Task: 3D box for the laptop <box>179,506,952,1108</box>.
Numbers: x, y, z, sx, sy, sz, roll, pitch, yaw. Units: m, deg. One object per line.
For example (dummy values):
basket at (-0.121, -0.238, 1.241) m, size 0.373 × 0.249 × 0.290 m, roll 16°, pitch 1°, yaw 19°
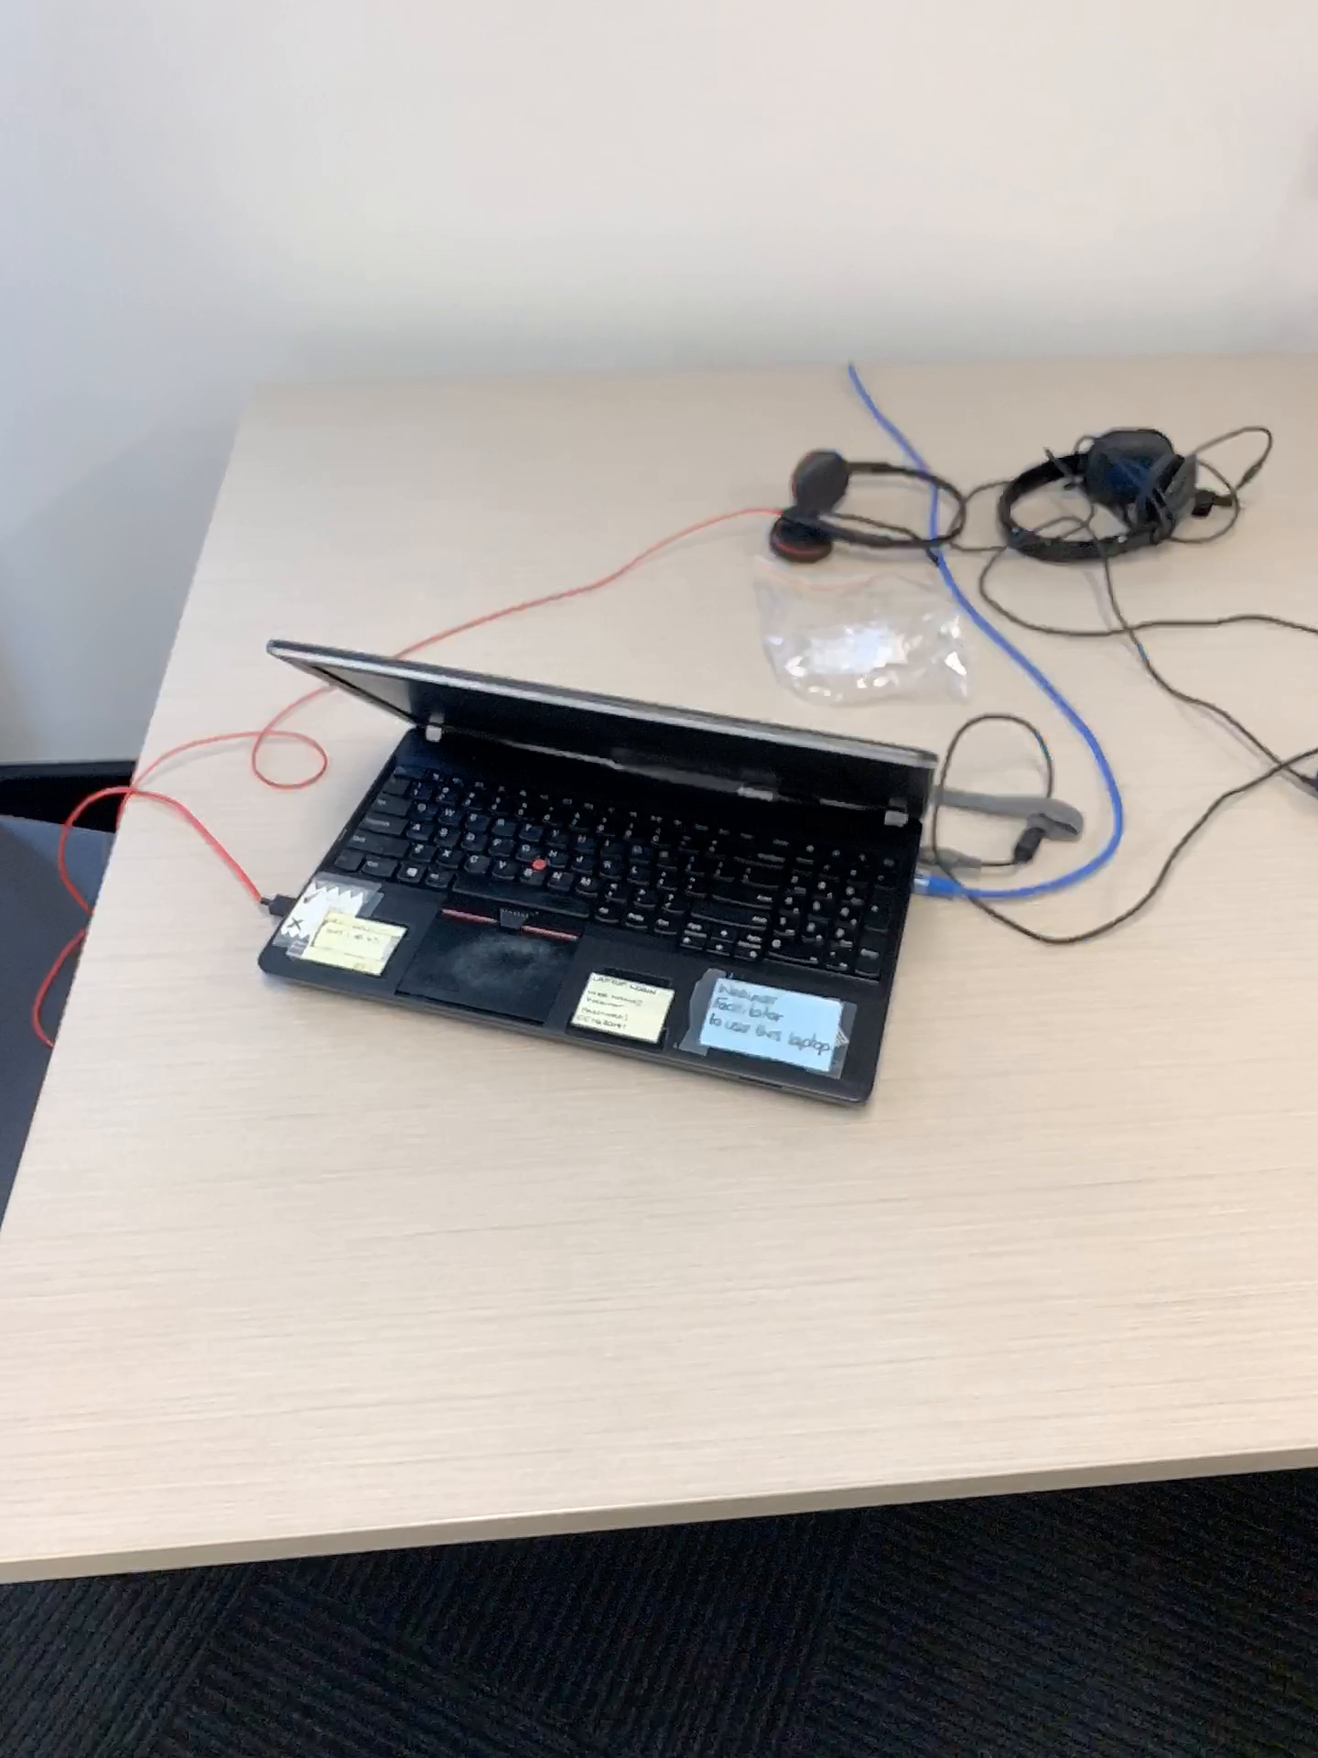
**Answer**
laptop at (-0.030, -0.053, 0.702) m, size 0.326 × 0.157 × 0.227 m, roll 10°, pitch 41°, yaw 13°
